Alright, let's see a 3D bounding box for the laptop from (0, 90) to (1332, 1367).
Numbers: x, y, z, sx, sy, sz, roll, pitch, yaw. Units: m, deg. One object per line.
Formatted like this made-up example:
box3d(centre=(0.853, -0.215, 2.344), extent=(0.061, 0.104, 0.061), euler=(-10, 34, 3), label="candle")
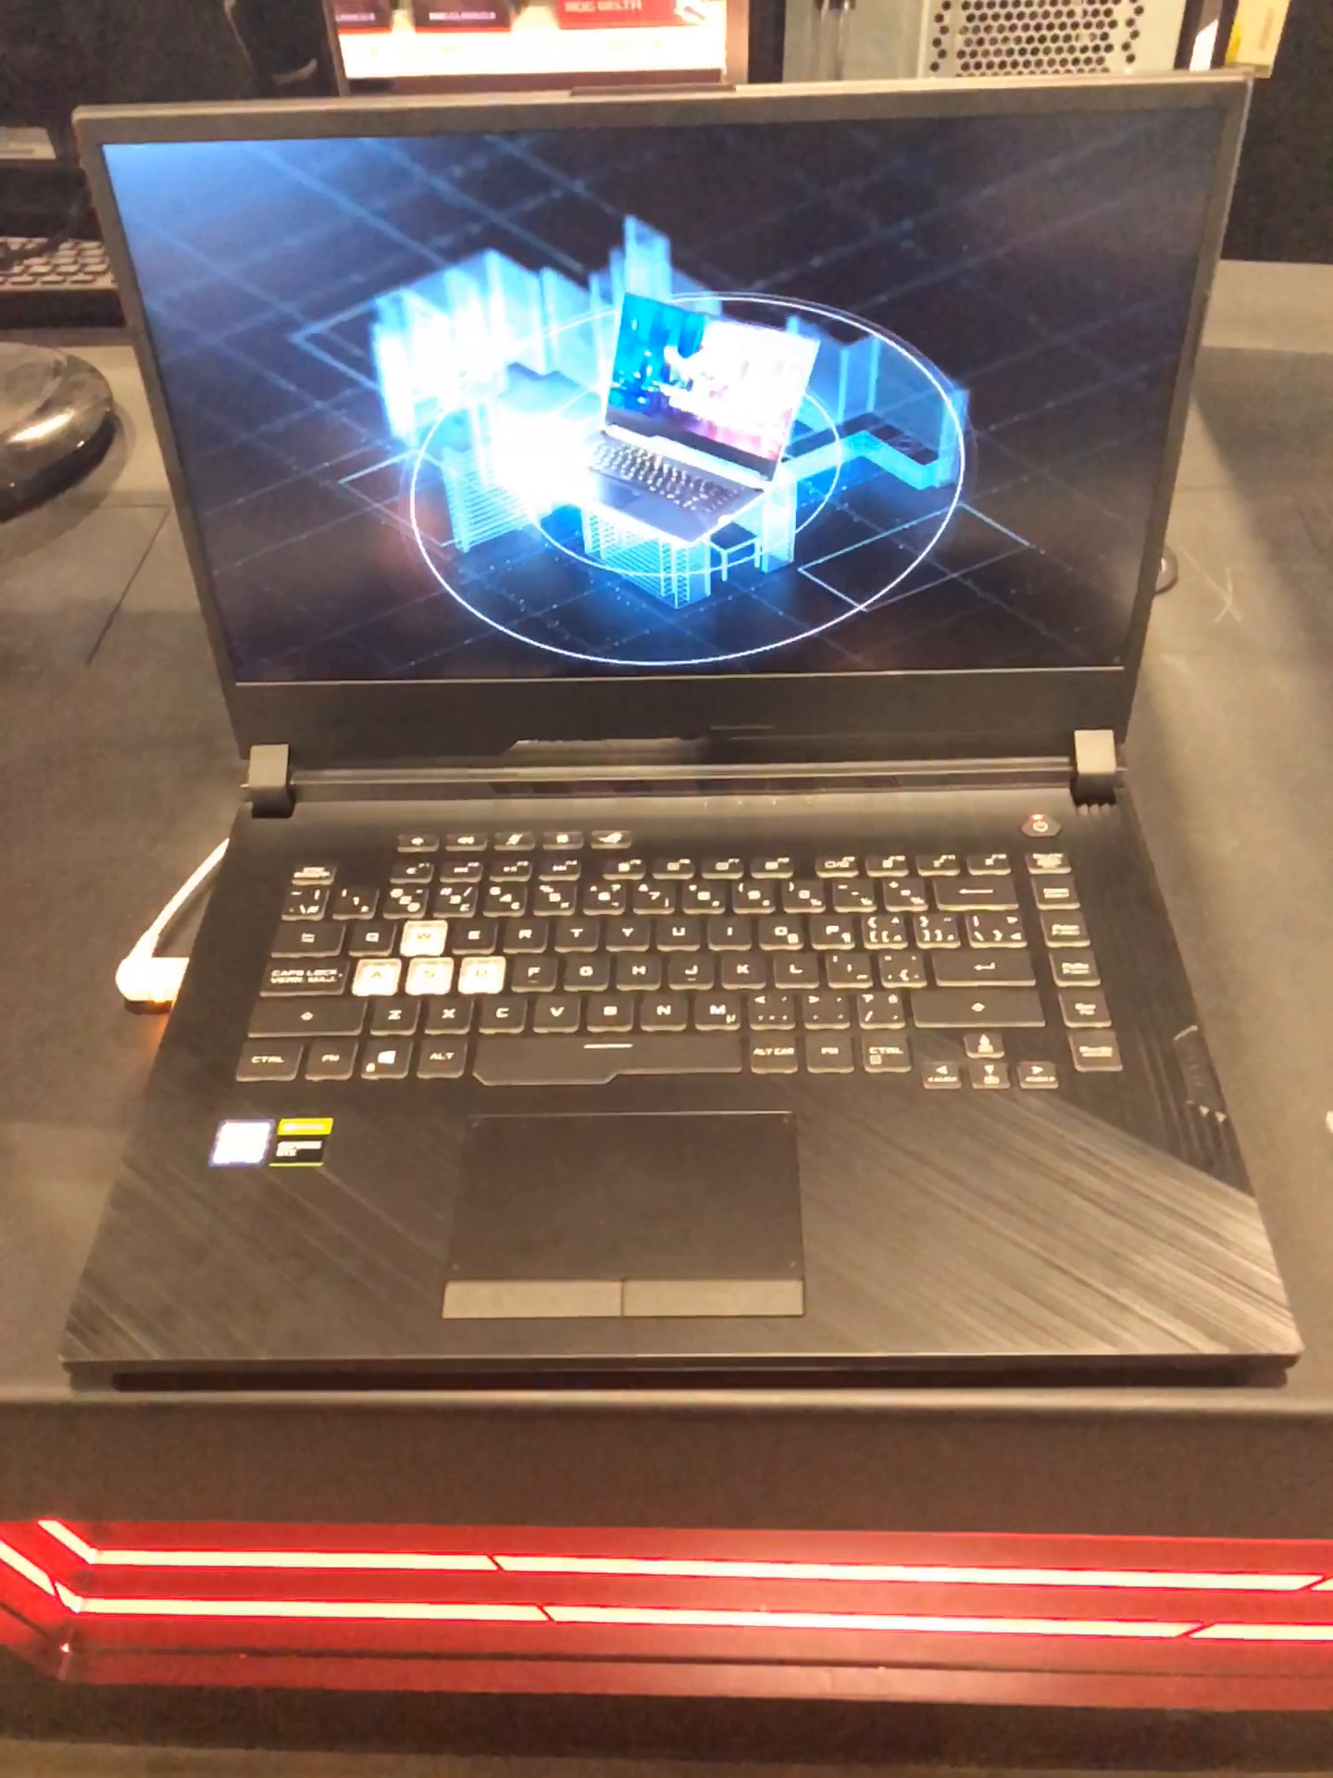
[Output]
box3d(centre=(-0.003, -0.052, 0.426), extent=(0.349, 0.243, 0.281), euler=(-1, 44, 2), label="laptop")
